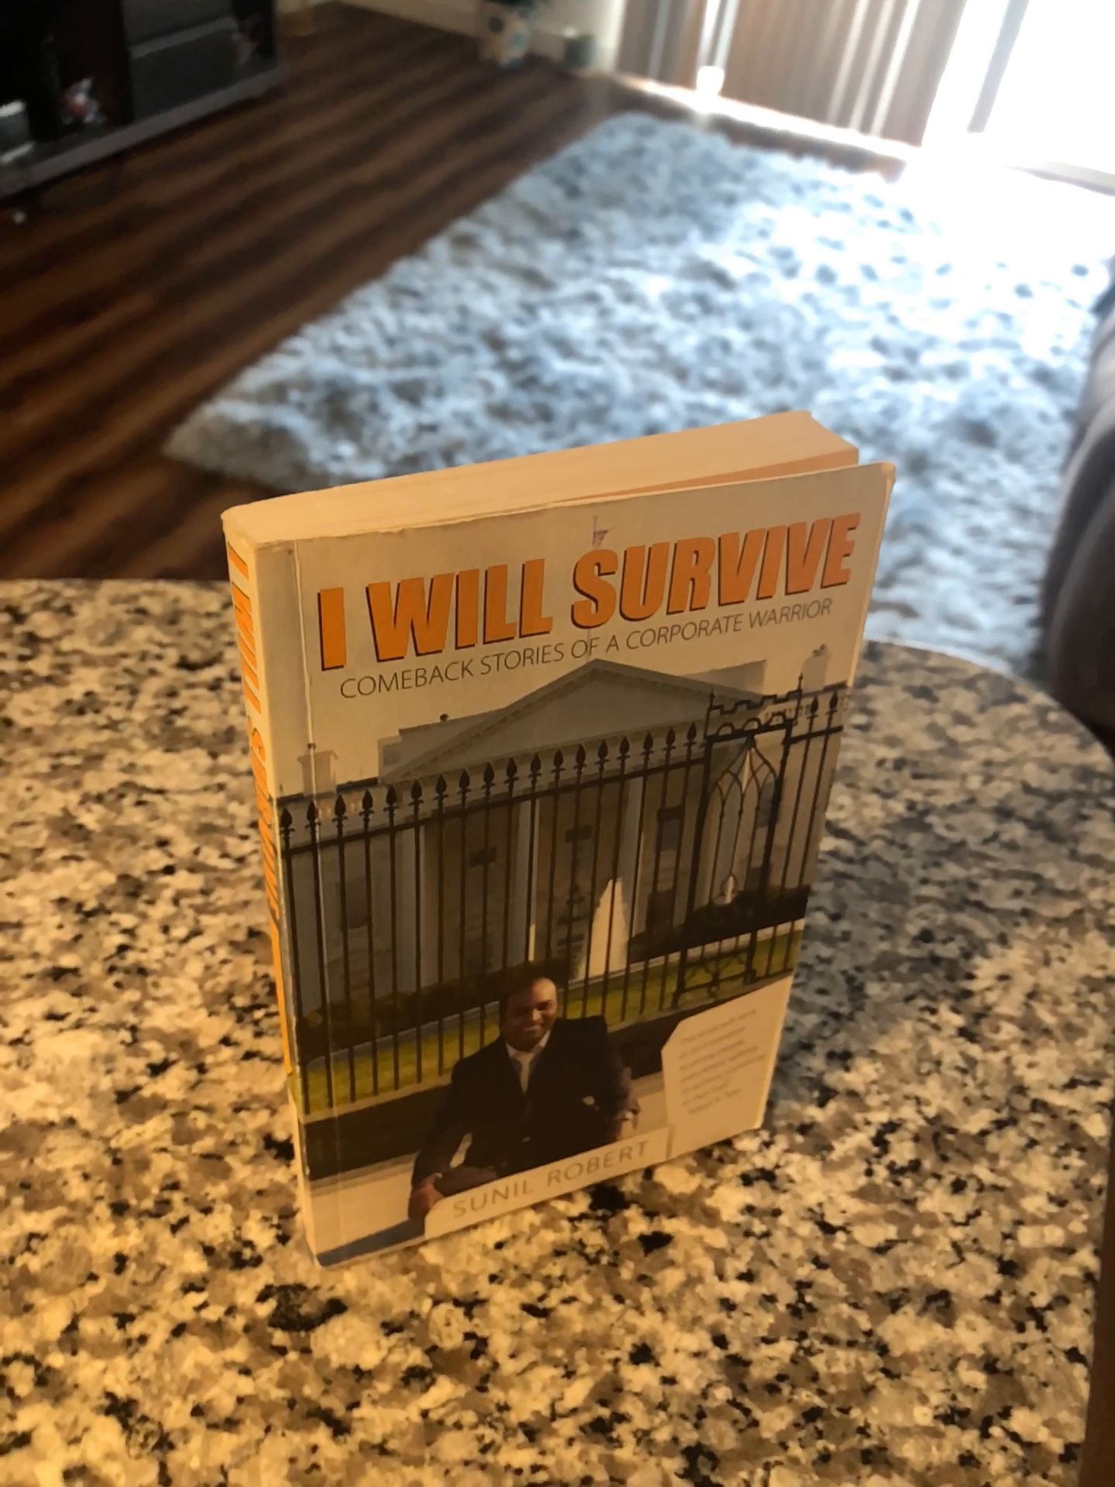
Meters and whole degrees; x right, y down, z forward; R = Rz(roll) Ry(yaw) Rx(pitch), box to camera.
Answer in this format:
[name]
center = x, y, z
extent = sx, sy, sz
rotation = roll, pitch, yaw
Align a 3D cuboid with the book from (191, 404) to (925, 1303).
[book]
center = 0.000, 0.029, 0.280
extent = 0.135, 0.191, 0.032
rotation = -13, 36, -23
